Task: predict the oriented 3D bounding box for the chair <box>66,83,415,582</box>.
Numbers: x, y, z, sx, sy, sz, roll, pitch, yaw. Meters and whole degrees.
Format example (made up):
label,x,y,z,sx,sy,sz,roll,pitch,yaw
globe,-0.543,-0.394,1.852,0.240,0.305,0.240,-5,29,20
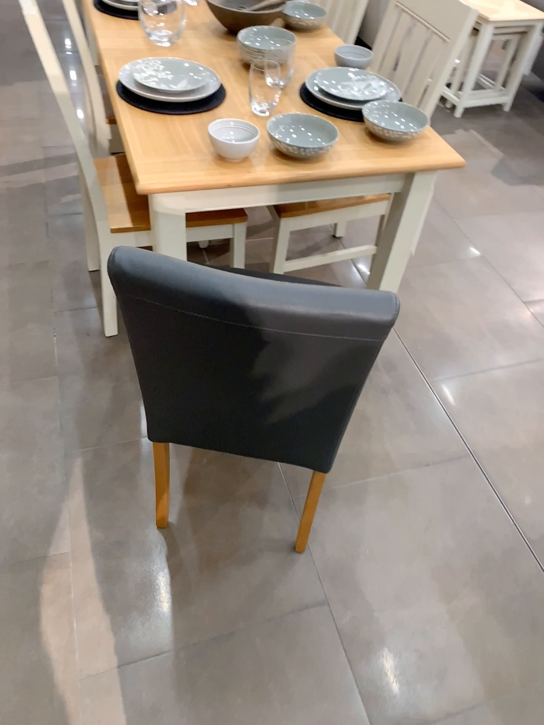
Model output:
label,x,y,z,sx,sy,sz,roll,pitch,yaw
chair,-0.044,-0.022,1.298,0.475,0.907,0.655,9,47,1
